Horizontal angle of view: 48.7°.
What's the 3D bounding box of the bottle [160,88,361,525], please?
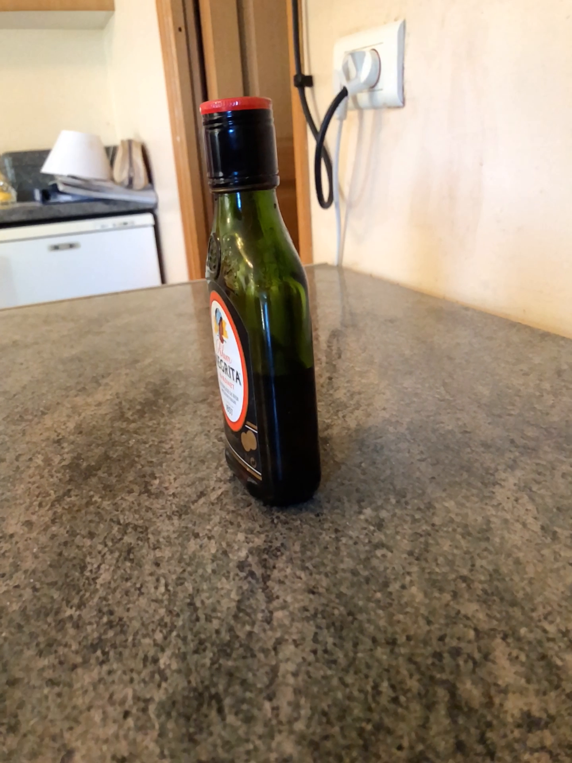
[{"bbox_3d":[-0.011,-0.034,0.272,0.050,0.159,0.080,-11,20,-20],"label":"bottle"}]
